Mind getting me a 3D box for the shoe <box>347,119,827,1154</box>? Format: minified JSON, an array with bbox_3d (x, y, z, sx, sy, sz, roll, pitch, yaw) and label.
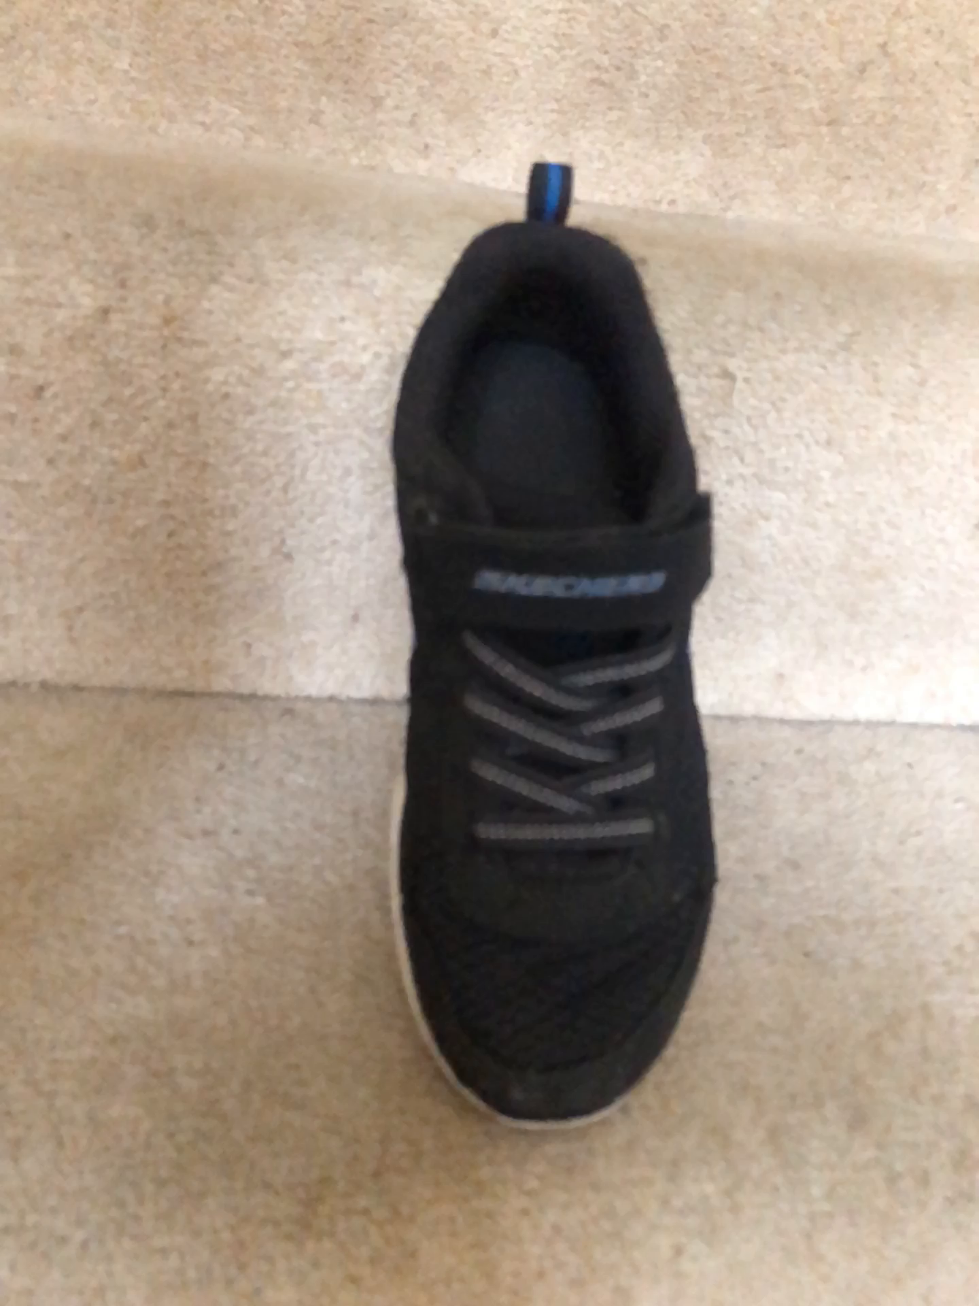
[{"bbox_3d":[0.014,-0.005,0.272,0.090,0.221,0.100,0,-13,-3],"label":"shoe"}]
